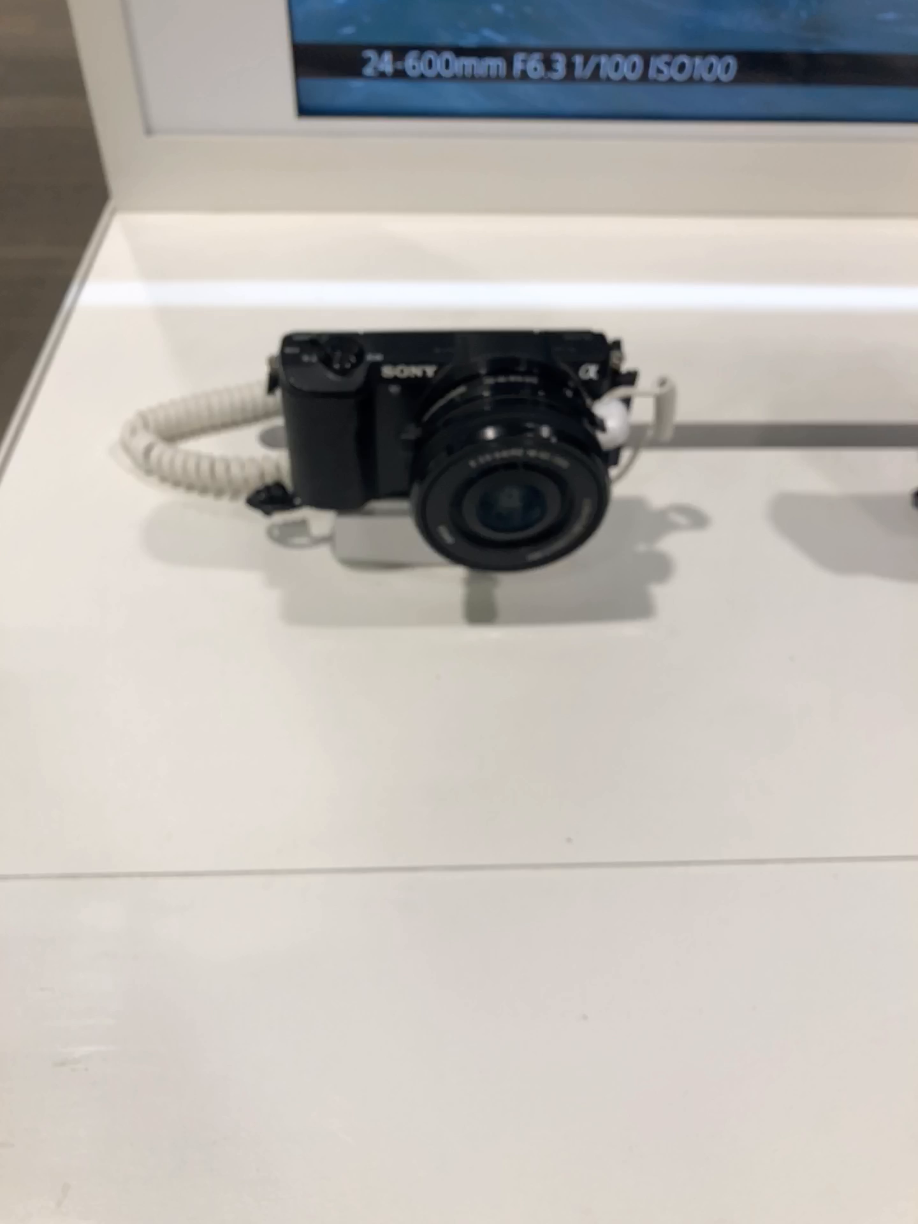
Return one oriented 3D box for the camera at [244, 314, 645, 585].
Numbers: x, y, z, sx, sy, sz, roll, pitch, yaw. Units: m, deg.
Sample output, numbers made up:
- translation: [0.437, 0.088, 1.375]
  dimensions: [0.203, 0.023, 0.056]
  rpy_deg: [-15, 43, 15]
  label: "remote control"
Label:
- translation: [-0.005, -0.053, 0.334]
  dimensions: [0.113, 0.060, 0.062]
  rpy_deg: [-1, 47, -1]
  label: "camera"
